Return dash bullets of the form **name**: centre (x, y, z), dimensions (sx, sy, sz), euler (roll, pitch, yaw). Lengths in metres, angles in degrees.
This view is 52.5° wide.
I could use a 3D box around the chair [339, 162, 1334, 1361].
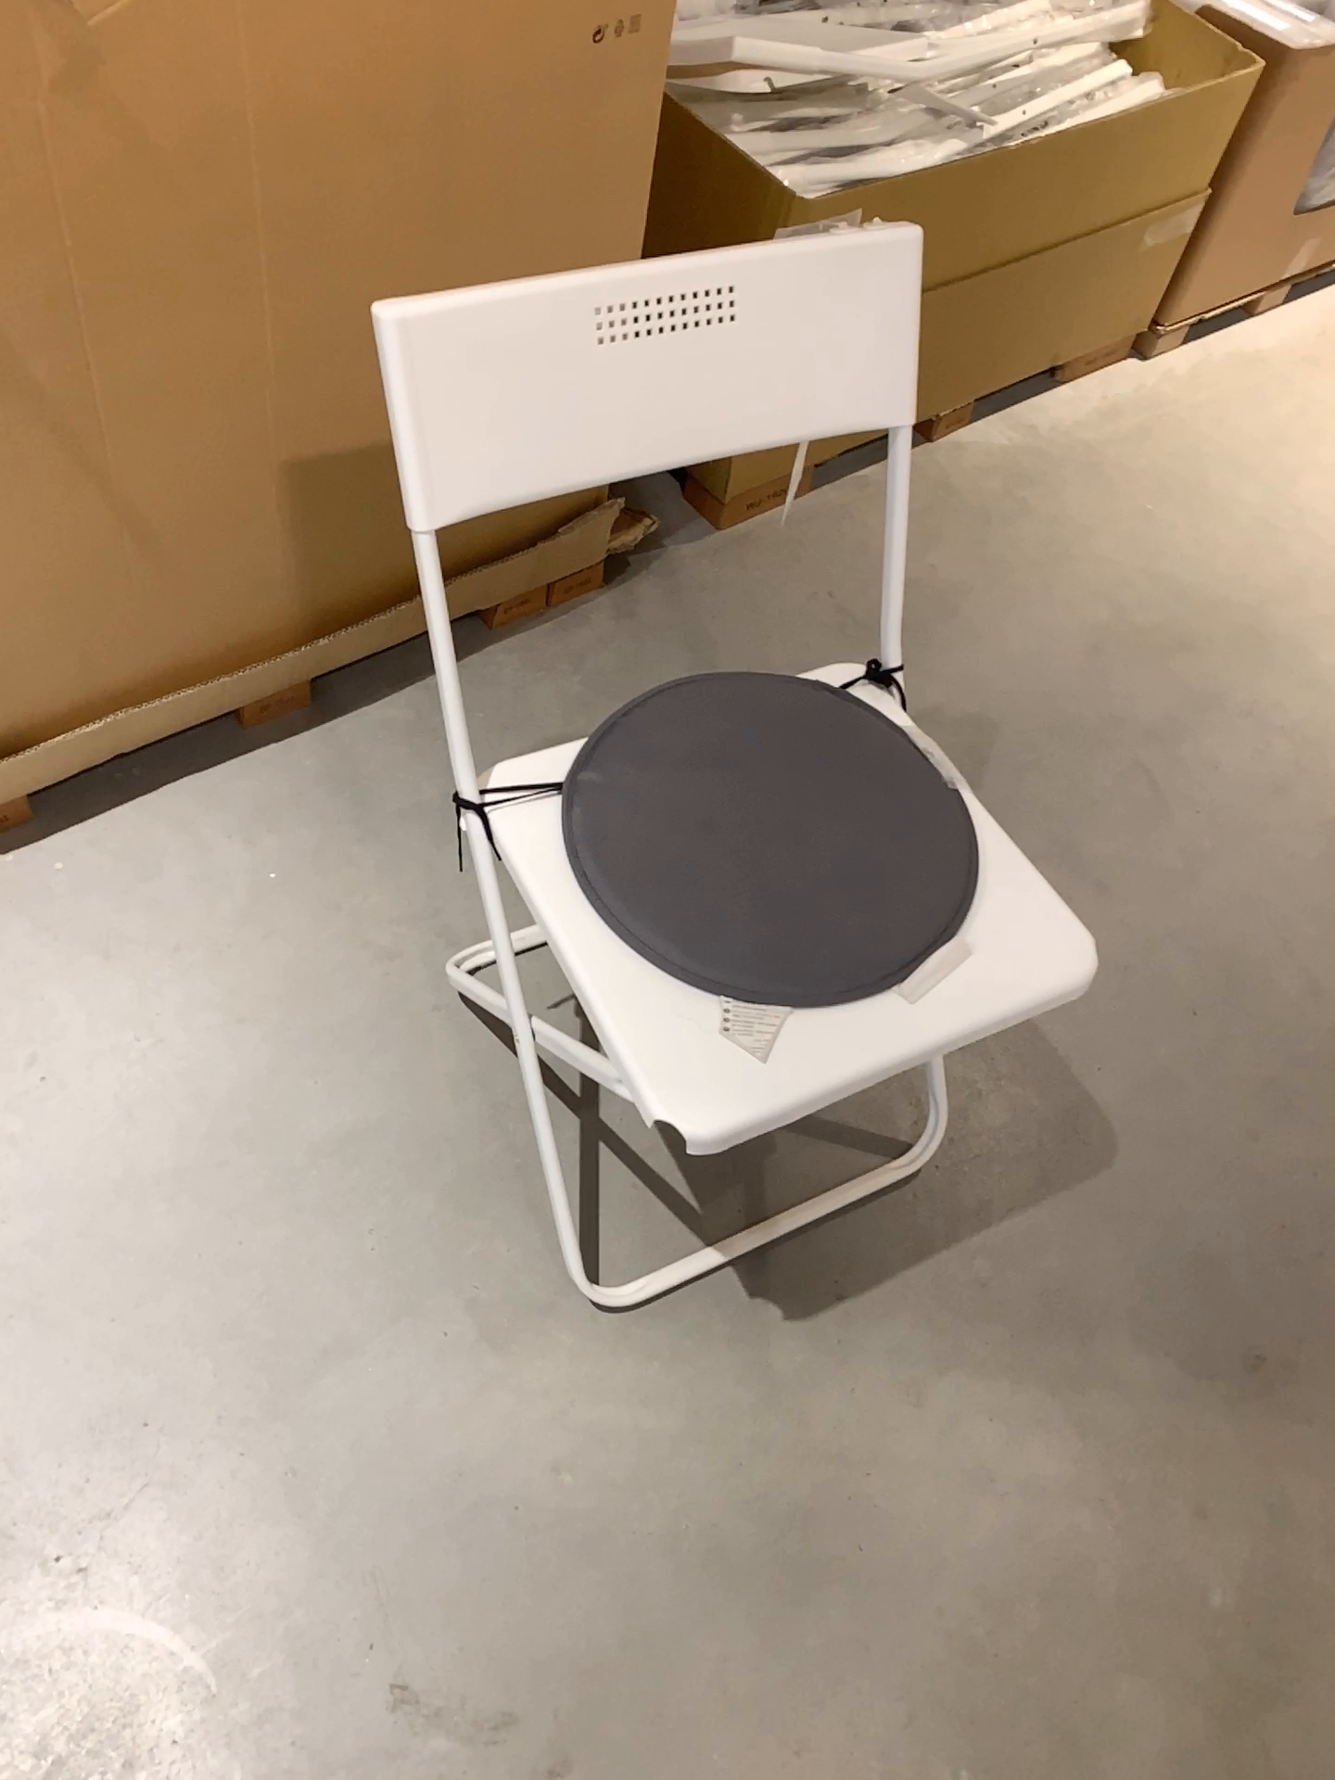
- **chair**: centre (0.076, -0.059, 1.075), dimensions (0.491, 0.738, 0.481), euler (-19, 61, -22)
